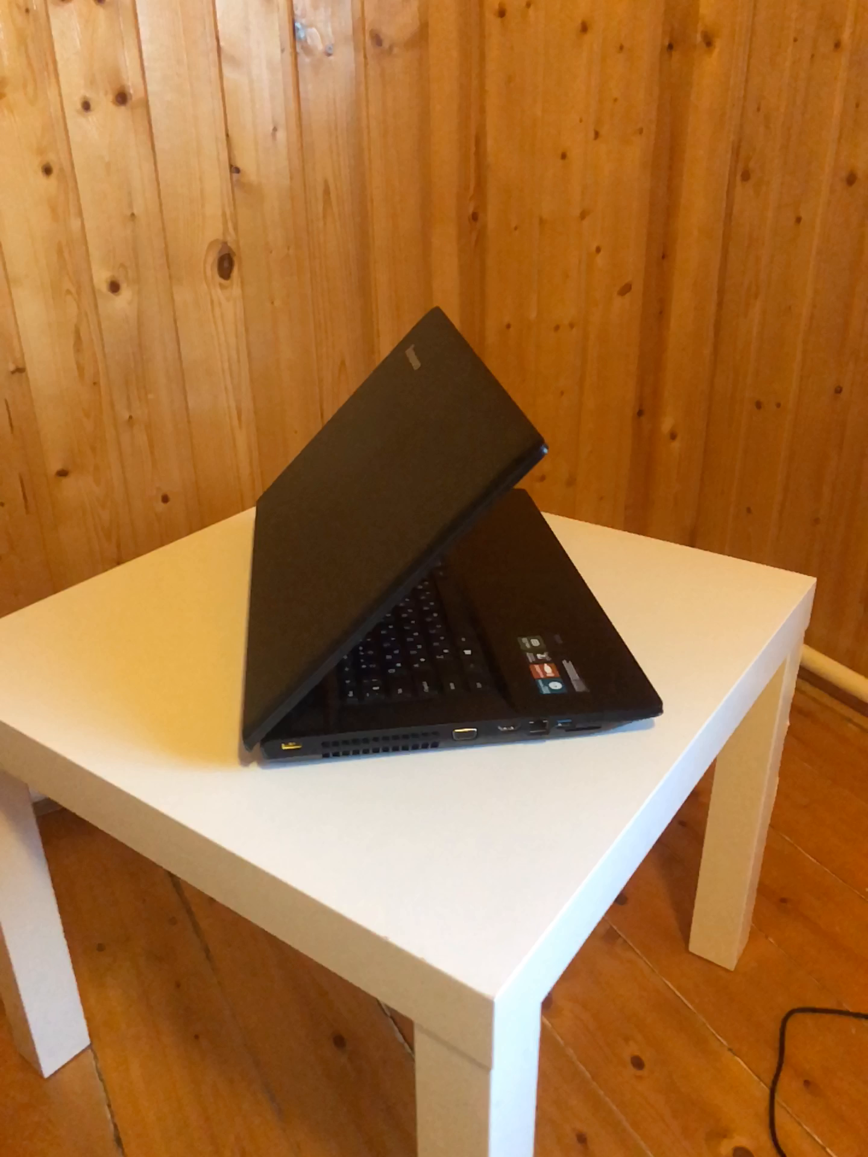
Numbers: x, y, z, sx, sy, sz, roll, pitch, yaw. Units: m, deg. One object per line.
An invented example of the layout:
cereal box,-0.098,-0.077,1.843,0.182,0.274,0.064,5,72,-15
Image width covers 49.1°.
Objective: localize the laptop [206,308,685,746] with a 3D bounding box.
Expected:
laptop,-0.016,-0.078,0.755,0.271,0.184,0.412,-4,26,-7
